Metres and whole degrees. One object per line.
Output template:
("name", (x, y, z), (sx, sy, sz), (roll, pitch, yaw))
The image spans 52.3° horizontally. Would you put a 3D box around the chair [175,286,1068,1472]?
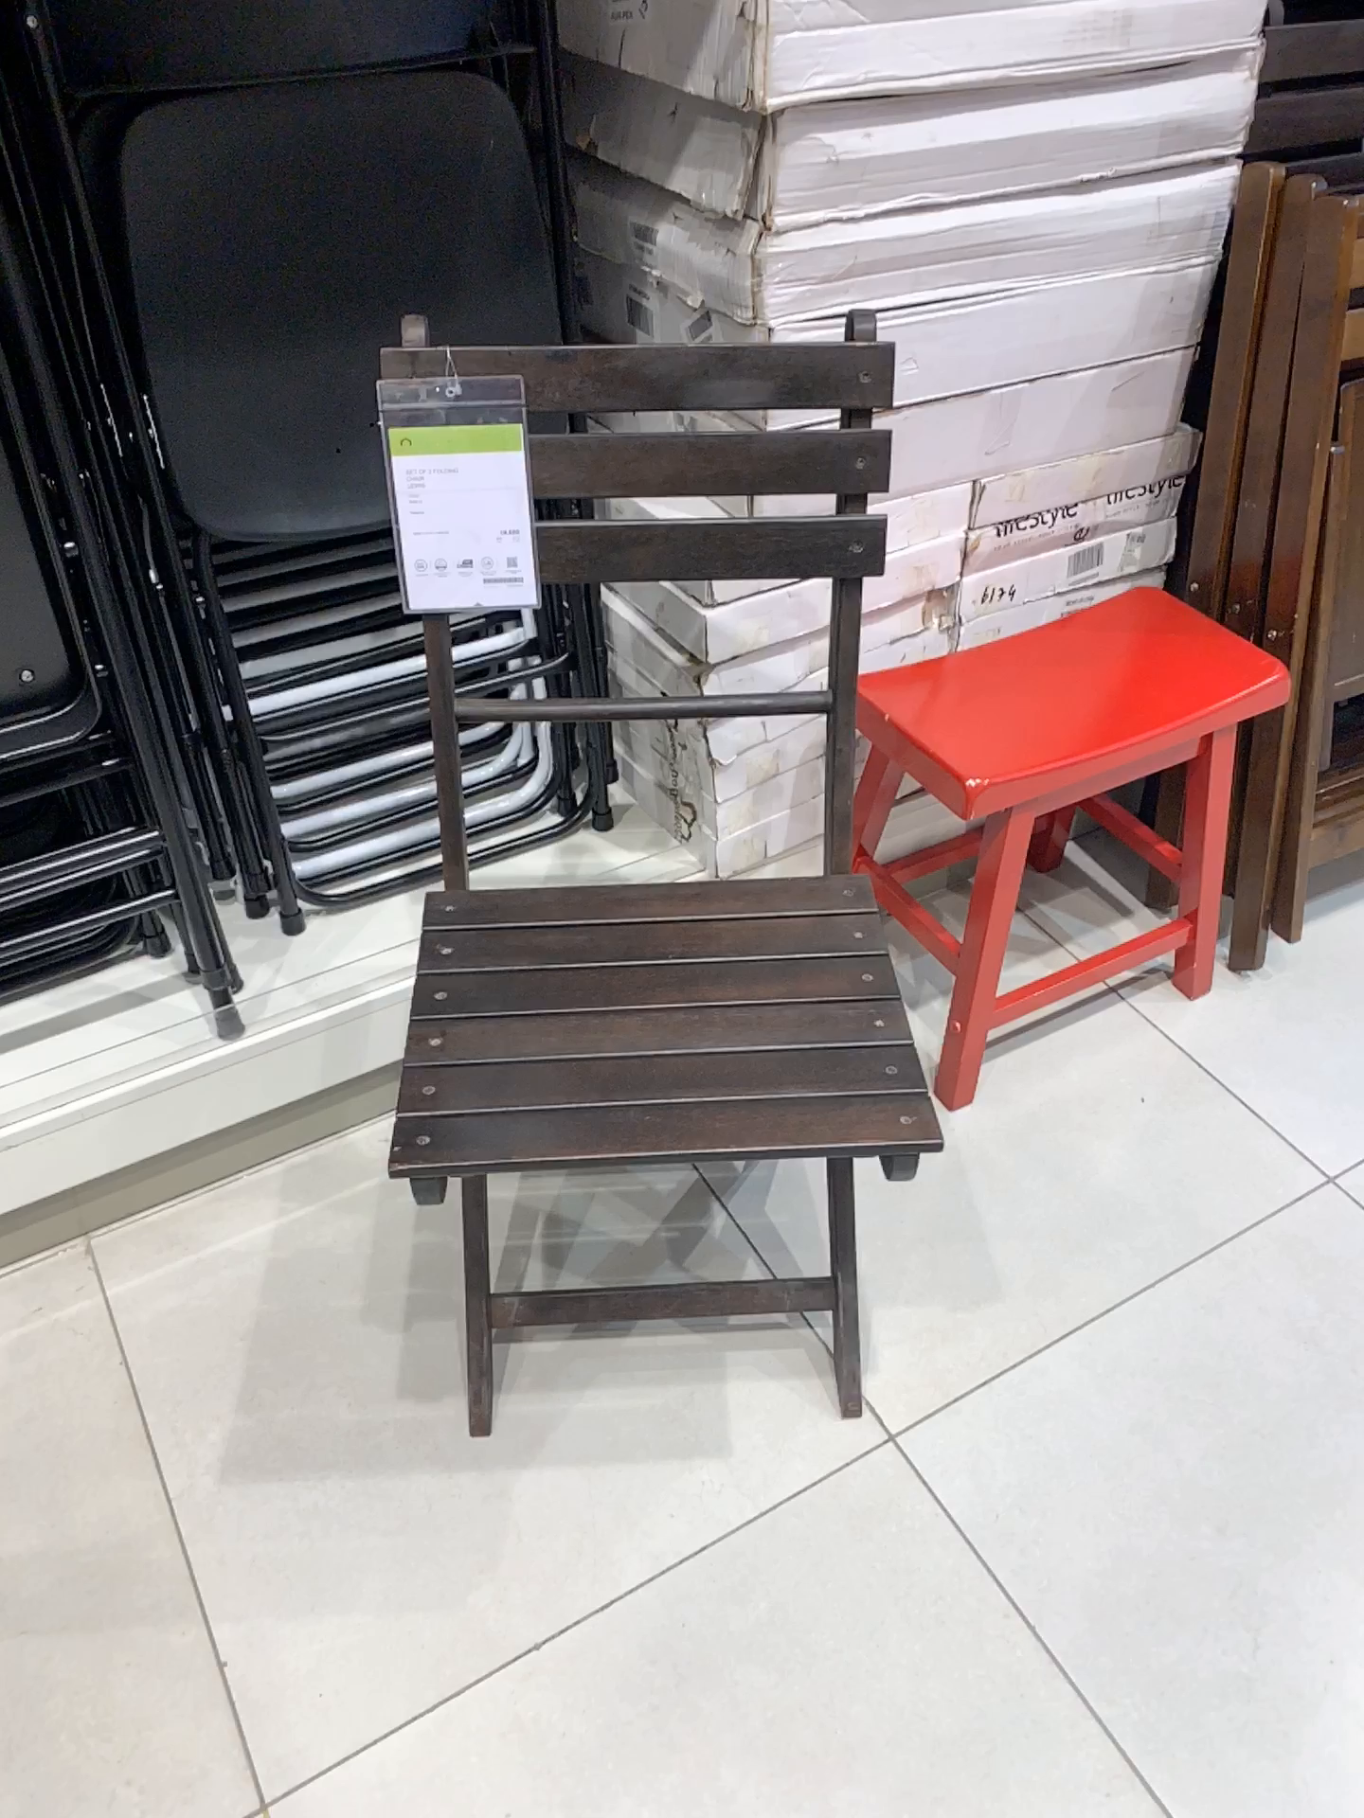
("chair", (-0.040, 0.004, 1.094), (0.420, 0.797, 0.482), (-2, 40, -2))
